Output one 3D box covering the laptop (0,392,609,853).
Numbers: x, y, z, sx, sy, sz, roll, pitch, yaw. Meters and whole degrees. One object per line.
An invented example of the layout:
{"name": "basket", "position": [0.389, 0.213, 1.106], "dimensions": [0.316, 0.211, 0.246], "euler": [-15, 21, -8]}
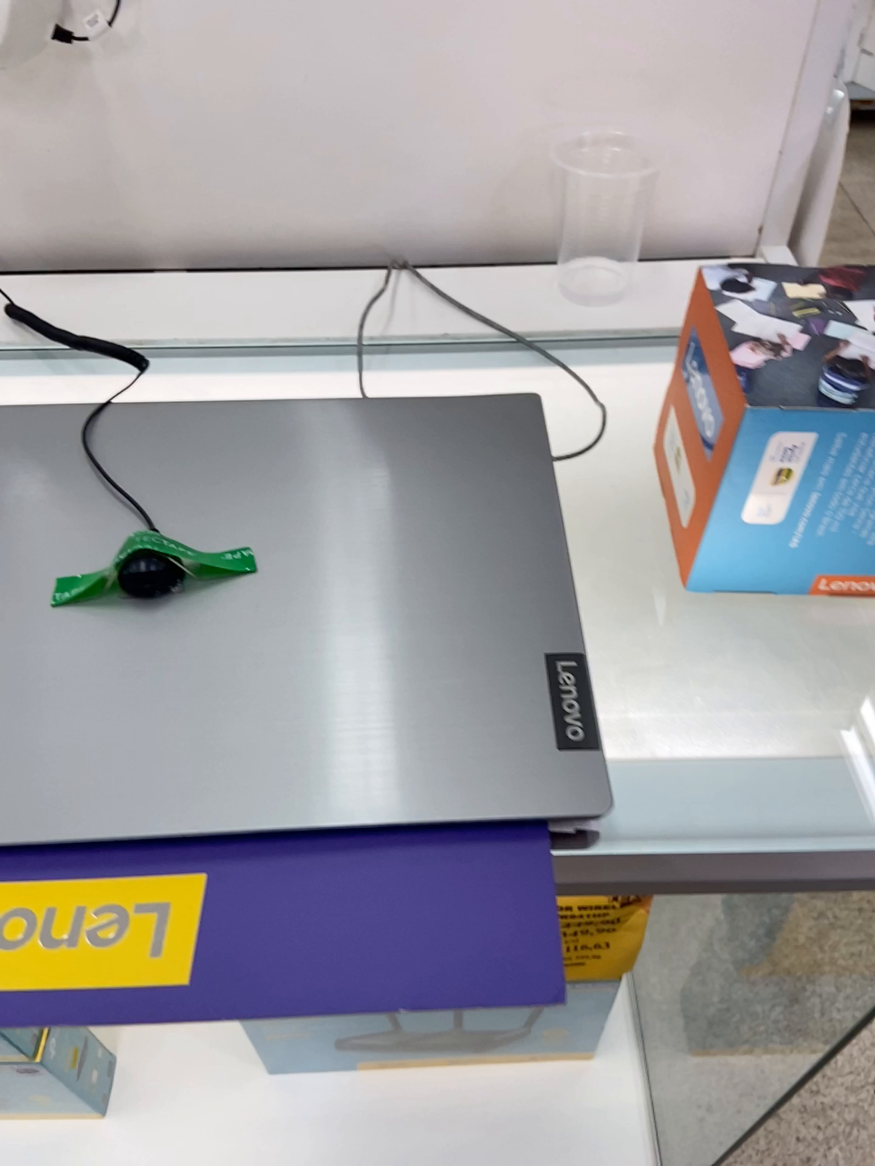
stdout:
{"name": "laptop", "position": [-0.127, -0.004, 0.385], "dimensions": [0.362, 0.001, 0.241], "euler": [-2, 47, 0]}
